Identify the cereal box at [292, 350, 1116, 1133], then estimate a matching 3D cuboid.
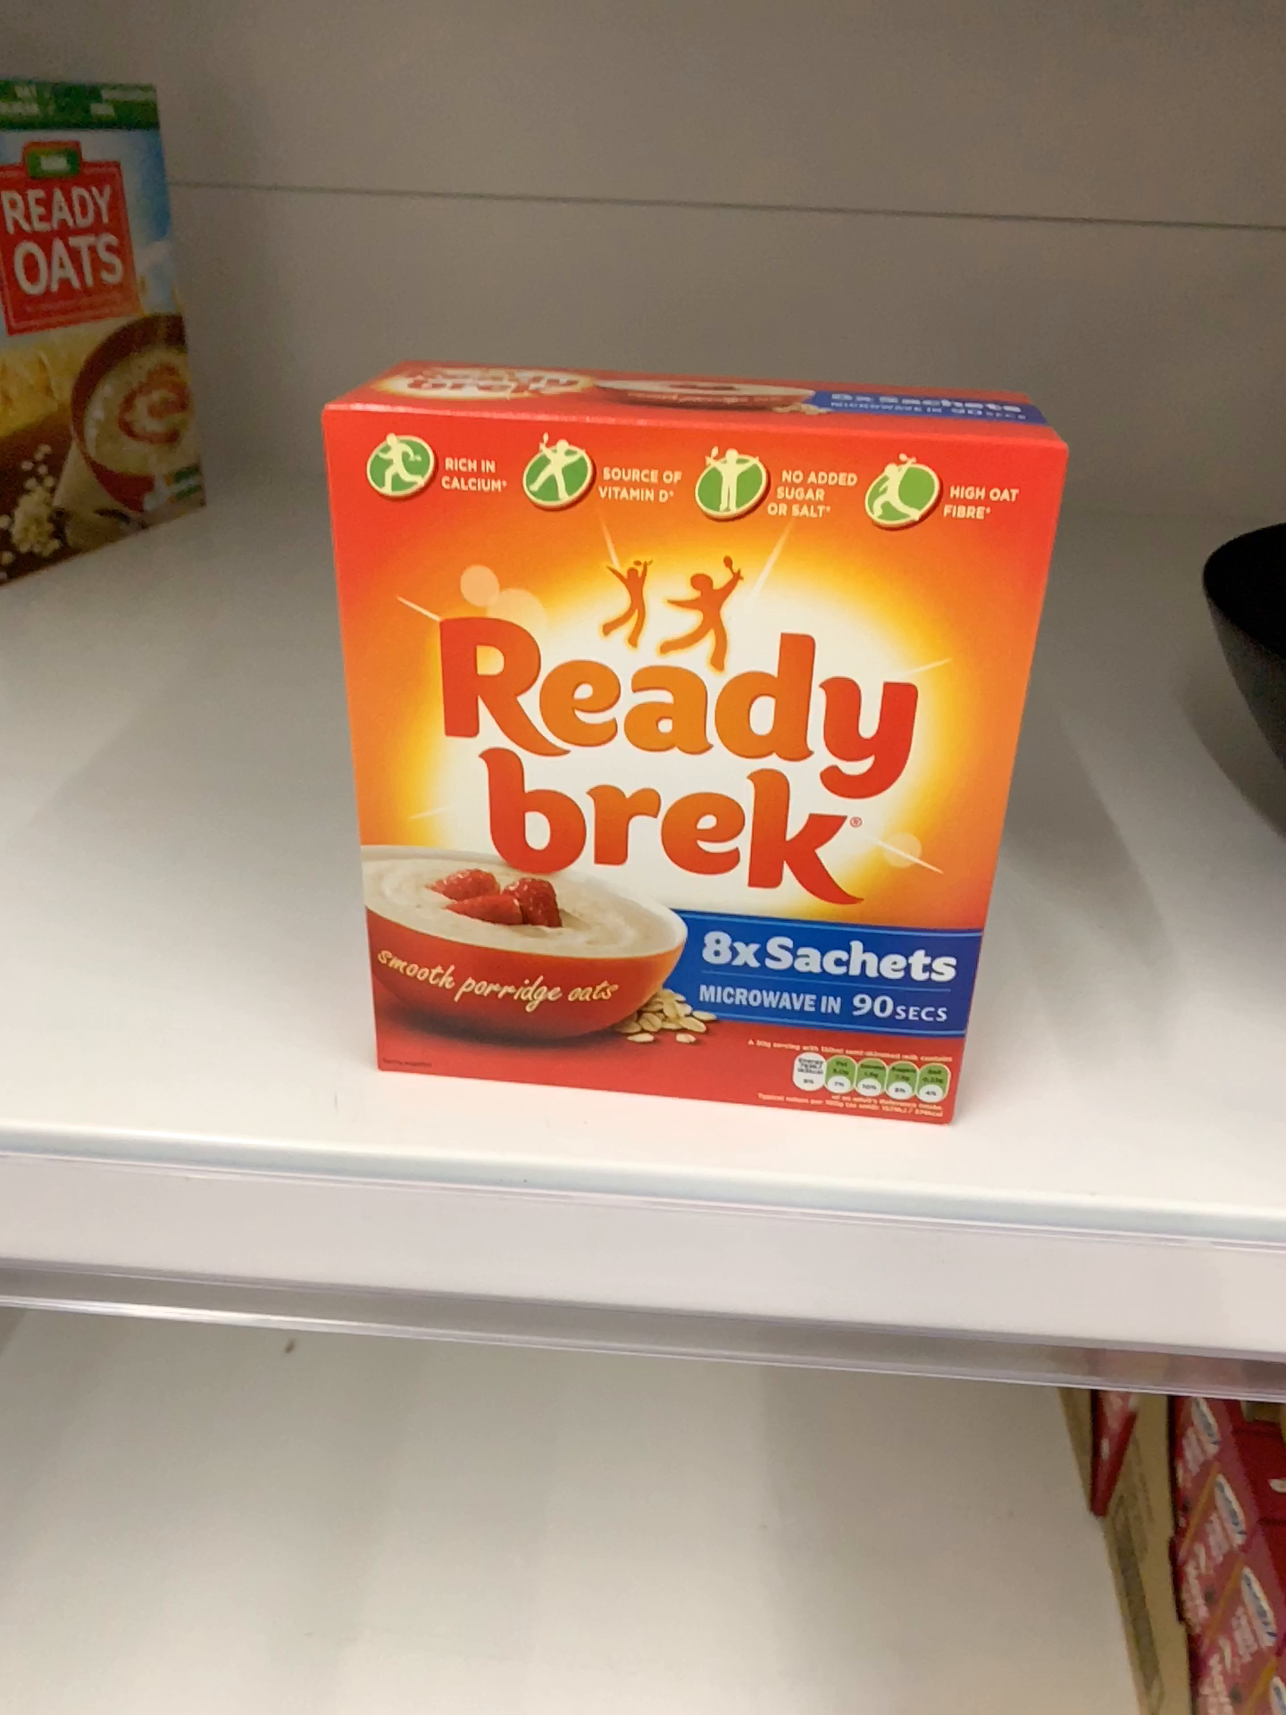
[{"bbox_3d":[0.012,-0.030,0.365,0.180,0.188,0.071,5,29,5],"label":"cereal box"}]
